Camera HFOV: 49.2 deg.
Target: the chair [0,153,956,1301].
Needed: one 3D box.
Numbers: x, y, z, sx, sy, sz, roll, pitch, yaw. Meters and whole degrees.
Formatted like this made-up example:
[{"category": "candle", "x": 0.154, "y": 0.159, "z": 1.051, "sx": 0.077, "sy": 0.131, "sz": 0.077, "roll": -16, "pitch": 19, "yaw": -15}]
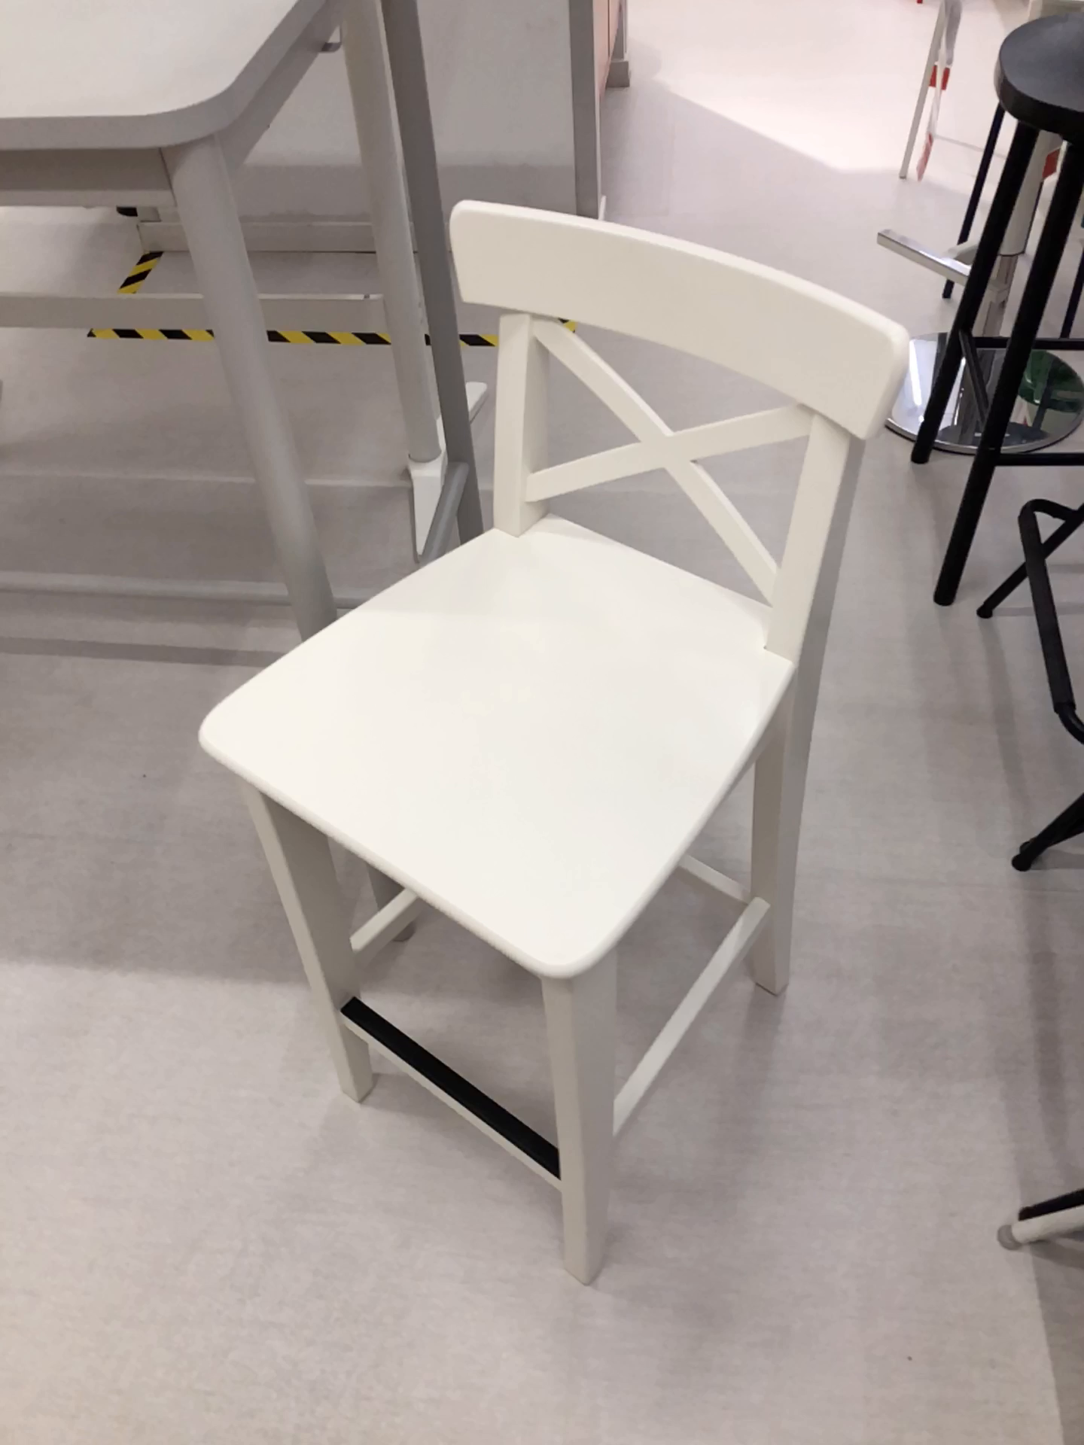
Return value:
[{"category": "chair", "x": -0.012, "y": 0.053, "z": 1.029, "sx": 0.421, "sy": 0.835, "sz": 0.421, "roll": 29, "pitch": 56, "yaw": 27}]
